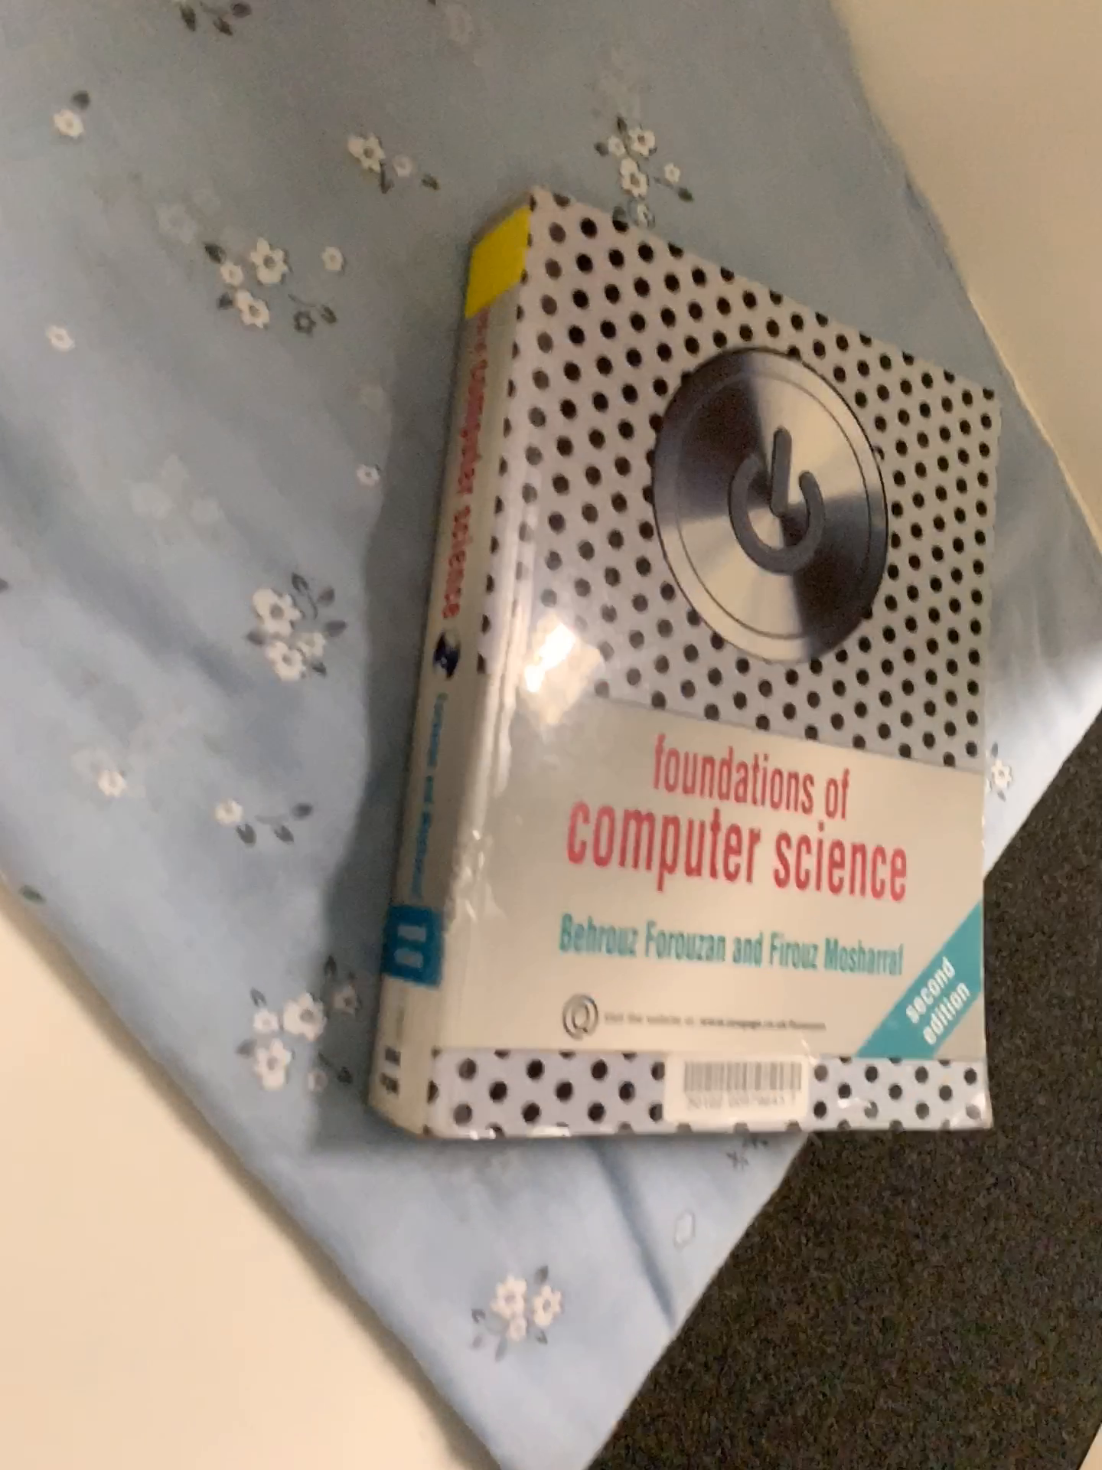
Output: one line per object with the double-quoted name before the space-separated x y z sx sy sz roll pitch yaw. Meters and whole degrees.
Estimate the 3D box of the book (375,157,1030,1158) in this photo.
"book" 0.059 -0.011 0.334 0.192 0.040 0.246 10 80 -29
